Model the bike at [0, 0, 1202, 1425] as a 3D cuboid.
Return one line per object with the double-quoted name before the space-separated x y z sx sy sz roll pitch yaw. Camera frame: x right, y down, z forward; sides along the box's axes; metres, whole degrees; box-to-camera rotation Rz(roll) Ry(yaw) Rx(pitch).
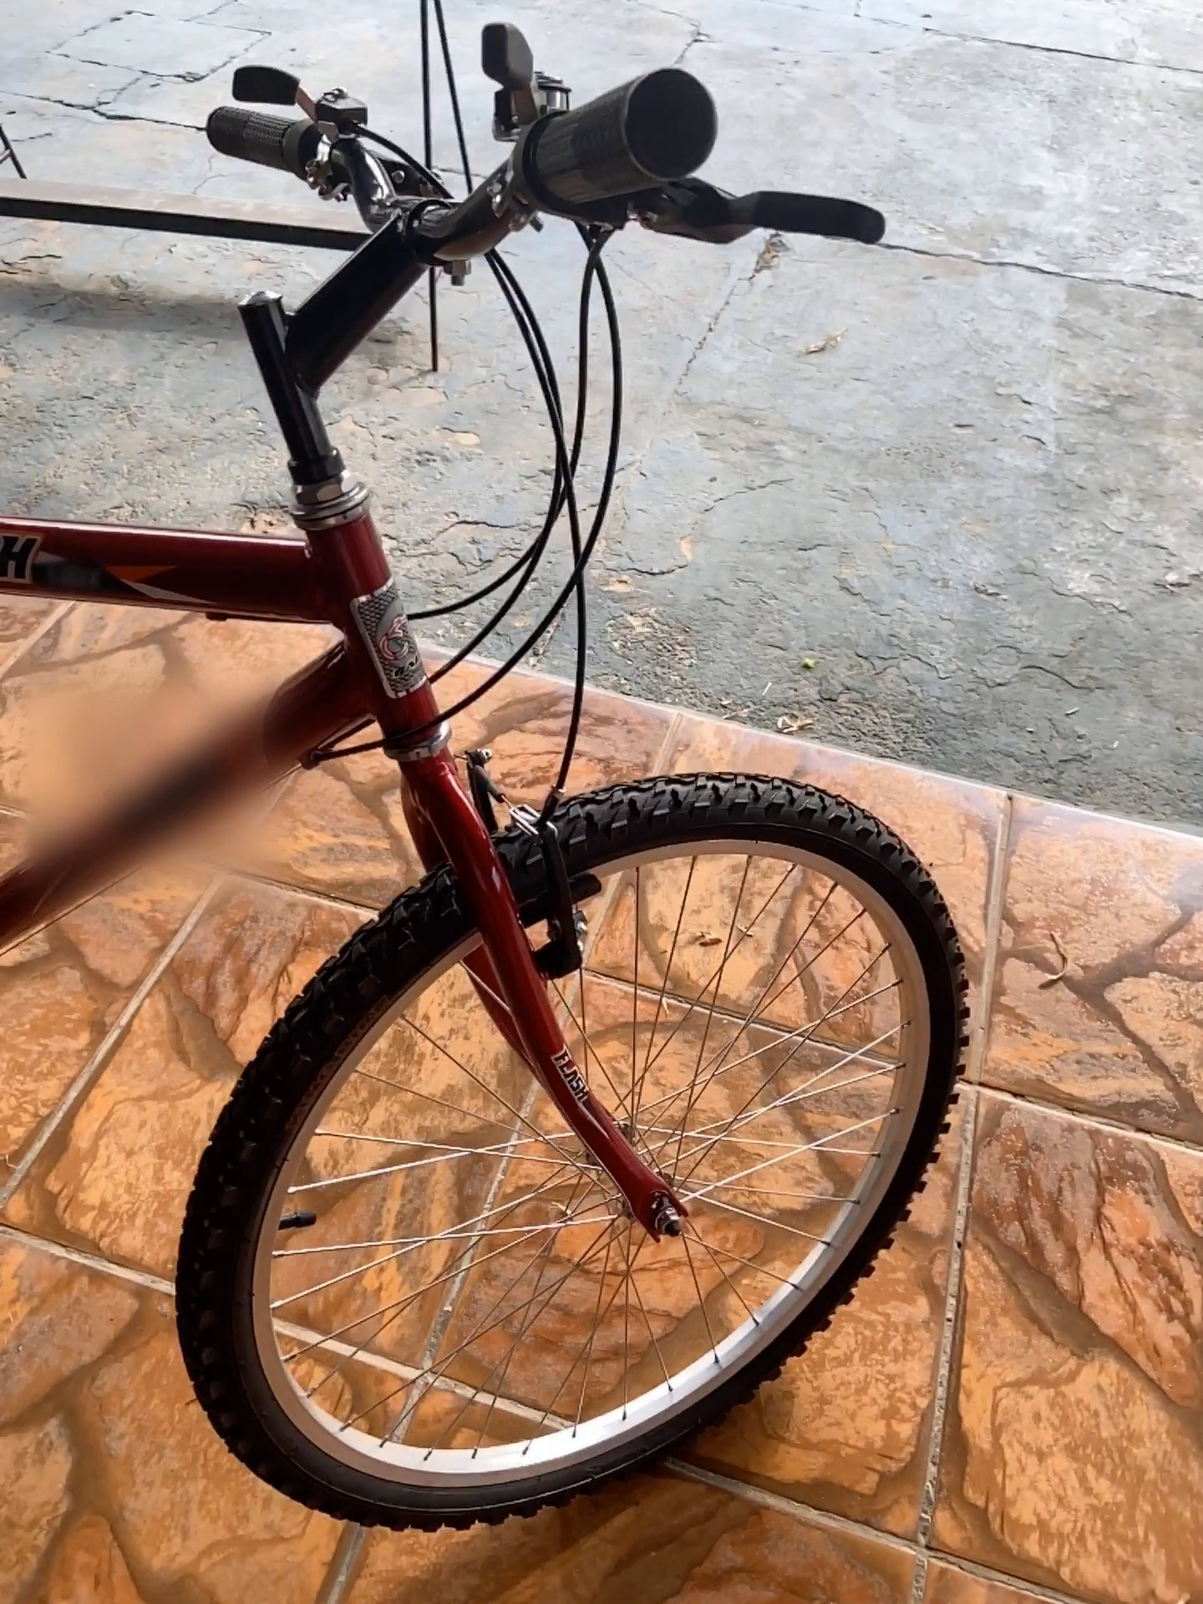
"bike" -0.437 -0.103 0.998 1.556 0.985 0.602 10 50 5
